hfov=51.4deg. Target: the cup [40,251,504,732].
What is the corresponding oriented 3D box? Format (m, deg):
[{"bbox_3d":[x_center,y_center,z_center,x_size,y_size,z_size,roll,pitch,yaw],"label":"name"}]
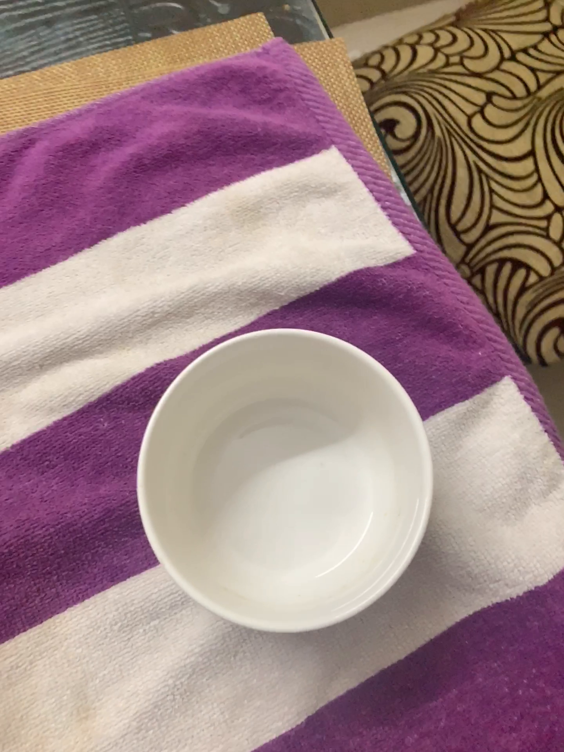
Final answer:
[{"bbox_3d":[-0.006,0.034,0.204,0.100,0.050,0.110,-30,74,-10],"label":"cup"}]
